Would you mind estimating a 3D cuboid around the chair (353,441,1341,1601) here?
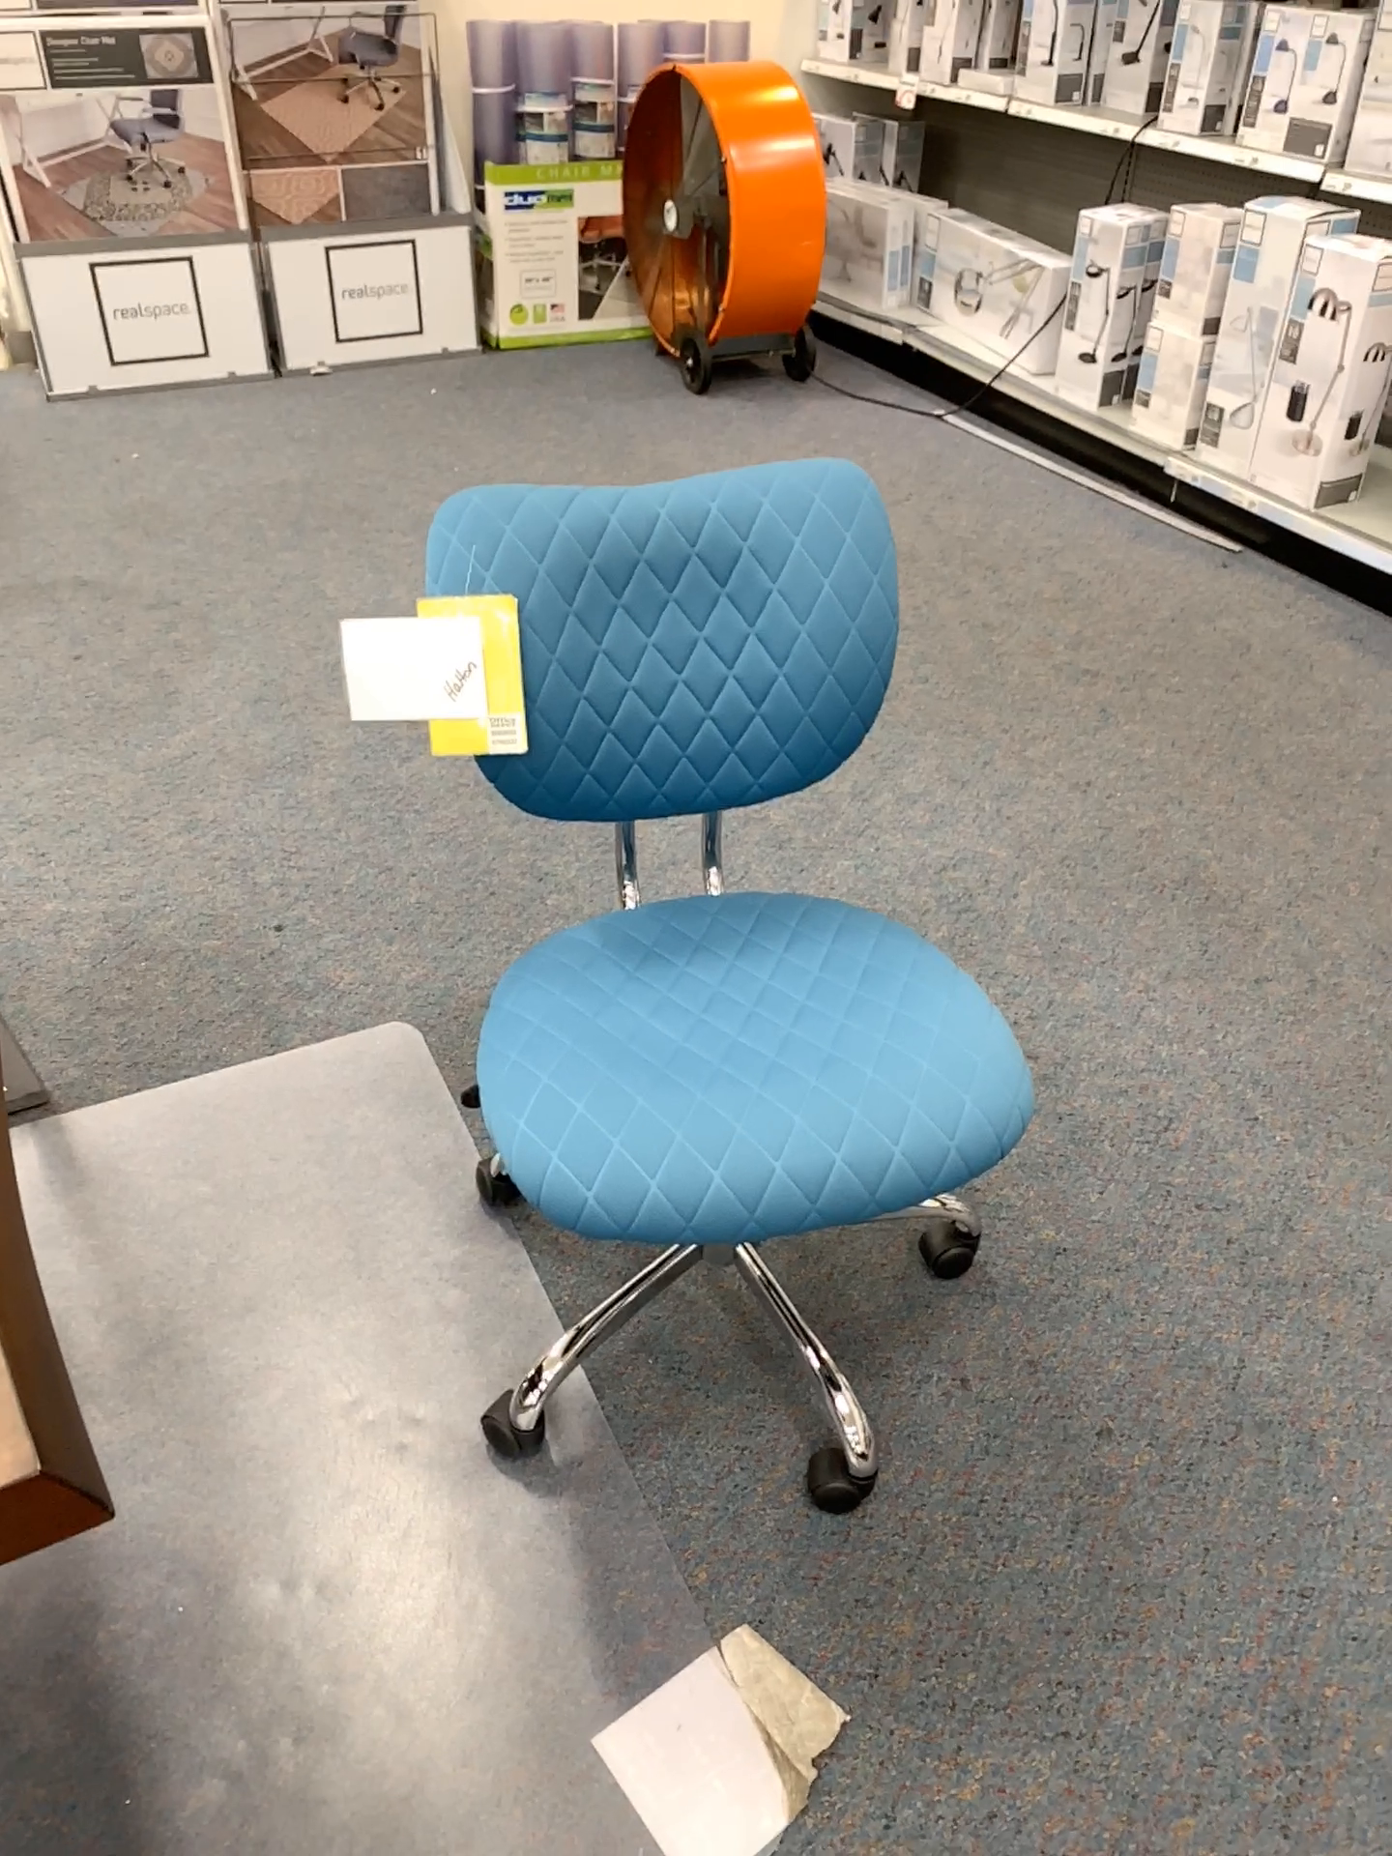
[{"bbox_3d":[0.041,0.051,1.343,0.598,0.775,0.667,-7,37,-11],"label":"chair"}]
